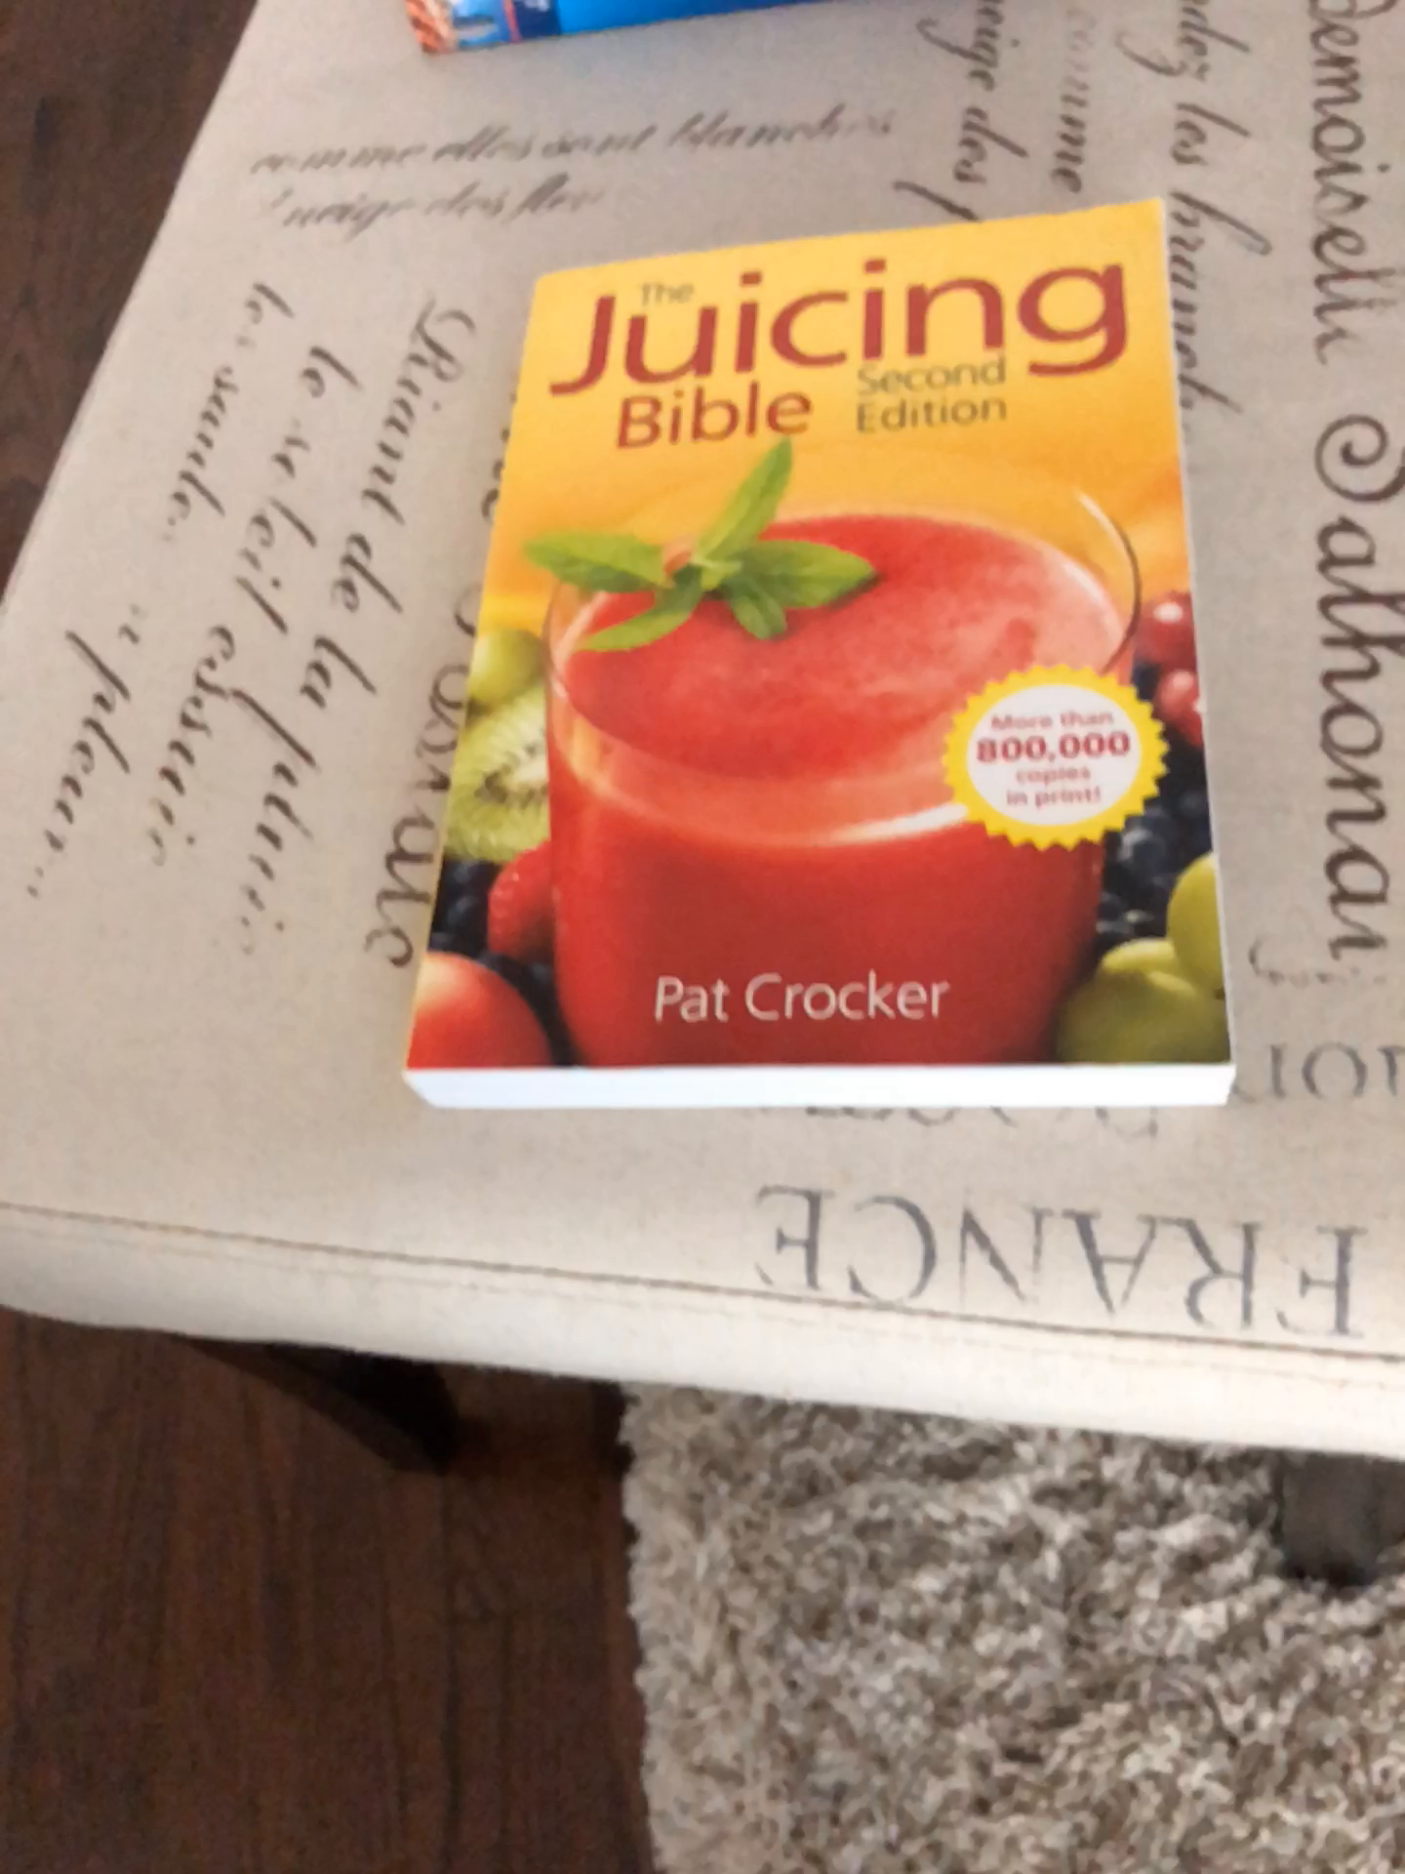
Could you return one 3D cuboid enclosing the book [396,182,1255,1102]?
[{"bbox_3d":[0.033,-0.082,0.397,0.180,0.030,0.250,-1,63,12],"label":"book"}]
